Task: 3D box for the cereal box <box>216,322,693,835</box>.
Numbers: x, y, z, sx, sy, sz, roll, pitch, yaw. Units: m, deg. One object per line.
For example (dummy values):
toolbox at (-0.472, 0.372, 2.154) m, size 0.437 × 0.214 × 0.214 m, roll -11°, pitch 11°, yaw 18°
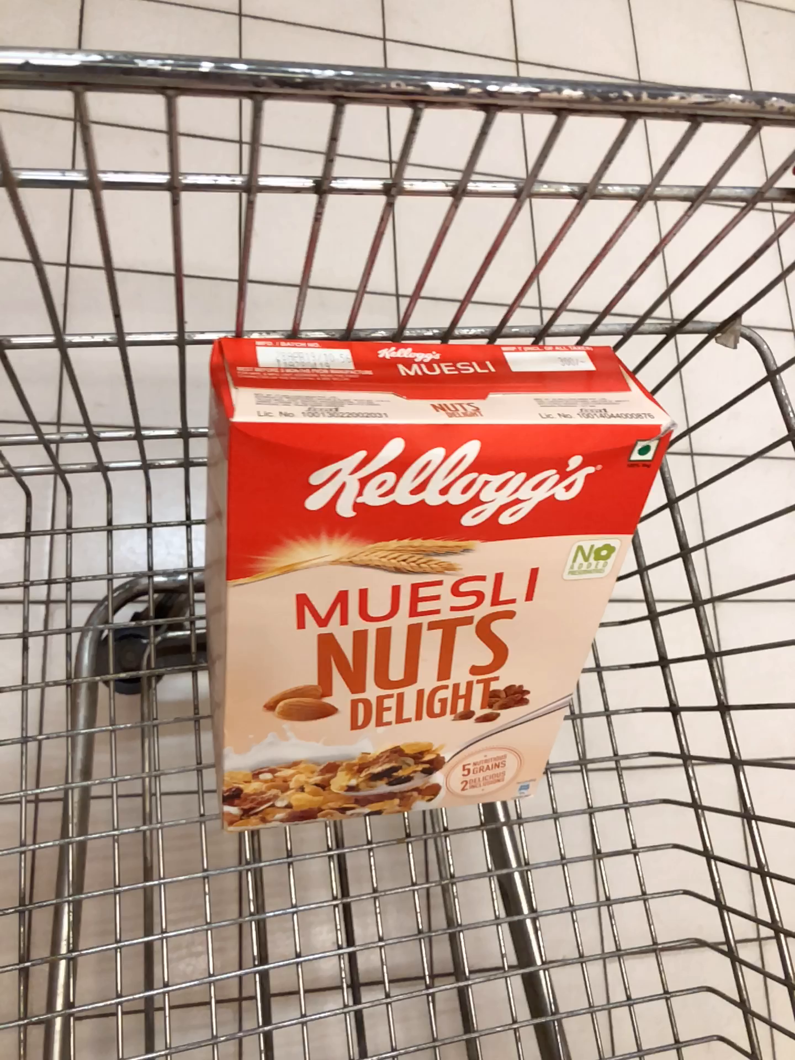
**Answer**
cereal box at (0.007, 0.033, 0.428) m, size 0.180 × 0.249 × 0.070 m, roll -2°, pitch 38°, yaw -14°
